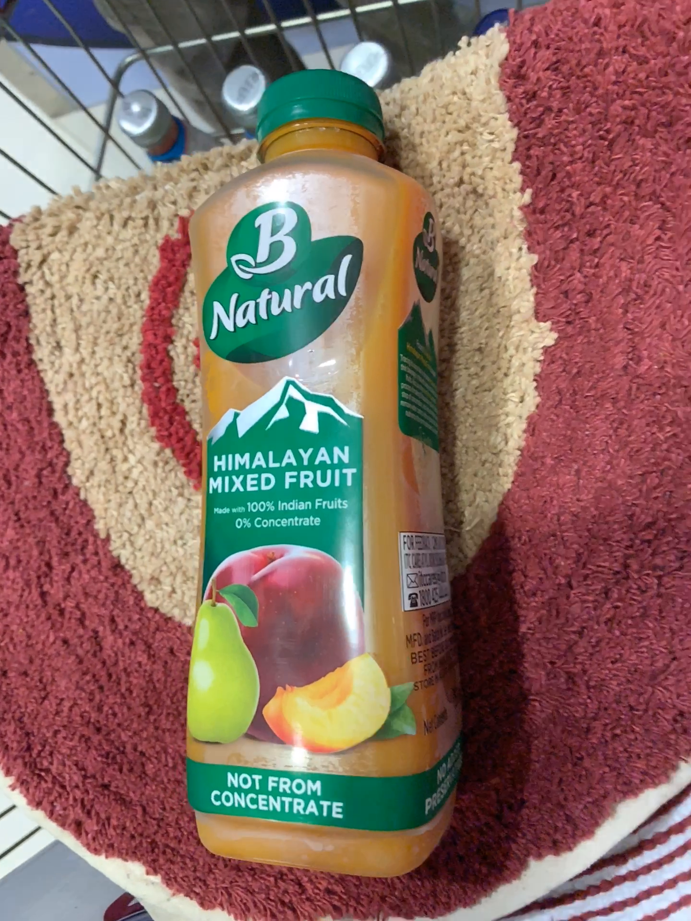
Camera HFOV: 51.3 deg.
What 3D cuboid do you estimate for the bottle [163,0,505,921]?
[{"bbox_3d":[0.004,-0.012,0.207,0.070,0.070,0.230,-2,79,18],"label":"bottle"}]
